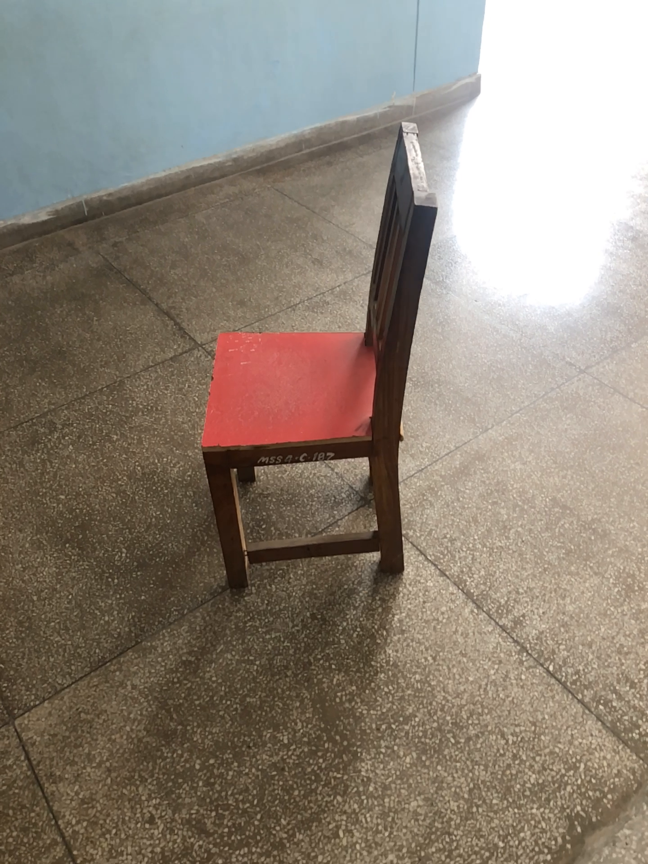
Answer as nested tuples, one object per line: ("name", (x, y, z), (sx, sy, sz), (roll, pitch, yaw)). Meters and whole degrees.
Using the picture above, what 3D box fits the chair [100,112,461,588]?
("chair", (-0.053, -0.110, 1.377), (0.480, 0.817, 0.401), (-3, 45, 0))
